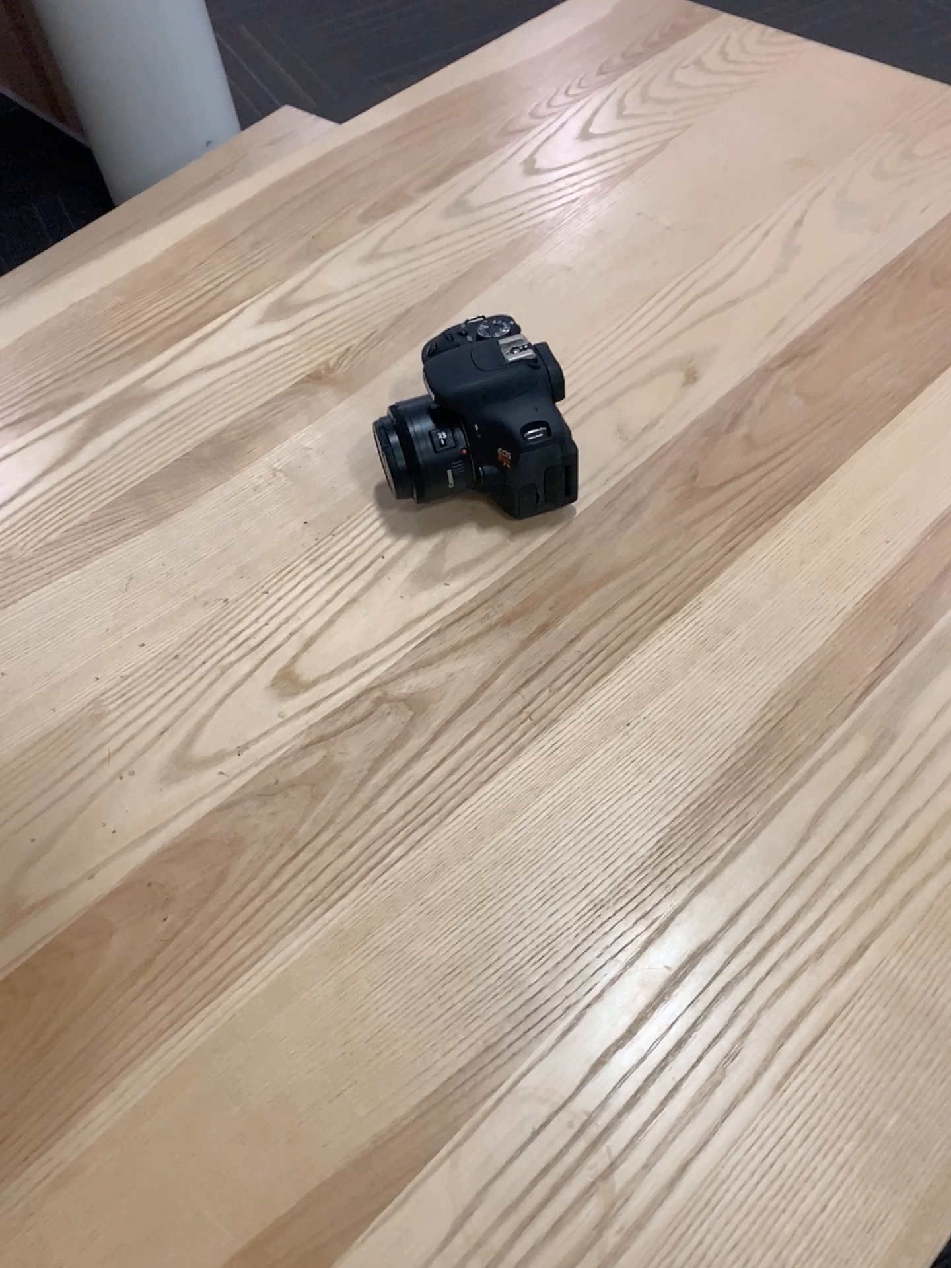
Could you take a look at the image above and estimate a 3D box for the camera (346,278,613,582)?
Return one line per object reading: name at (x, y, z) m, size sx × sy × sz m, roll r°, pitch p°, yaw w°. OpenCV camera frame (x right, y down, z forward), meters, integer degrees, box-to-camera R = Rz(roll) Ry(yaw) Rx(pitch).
camera at (0.001, -0.134, 0.626) m, size 0.120 × 0.100 × 0.145 m, roll -18°, pitch 50°, yaw -9°
